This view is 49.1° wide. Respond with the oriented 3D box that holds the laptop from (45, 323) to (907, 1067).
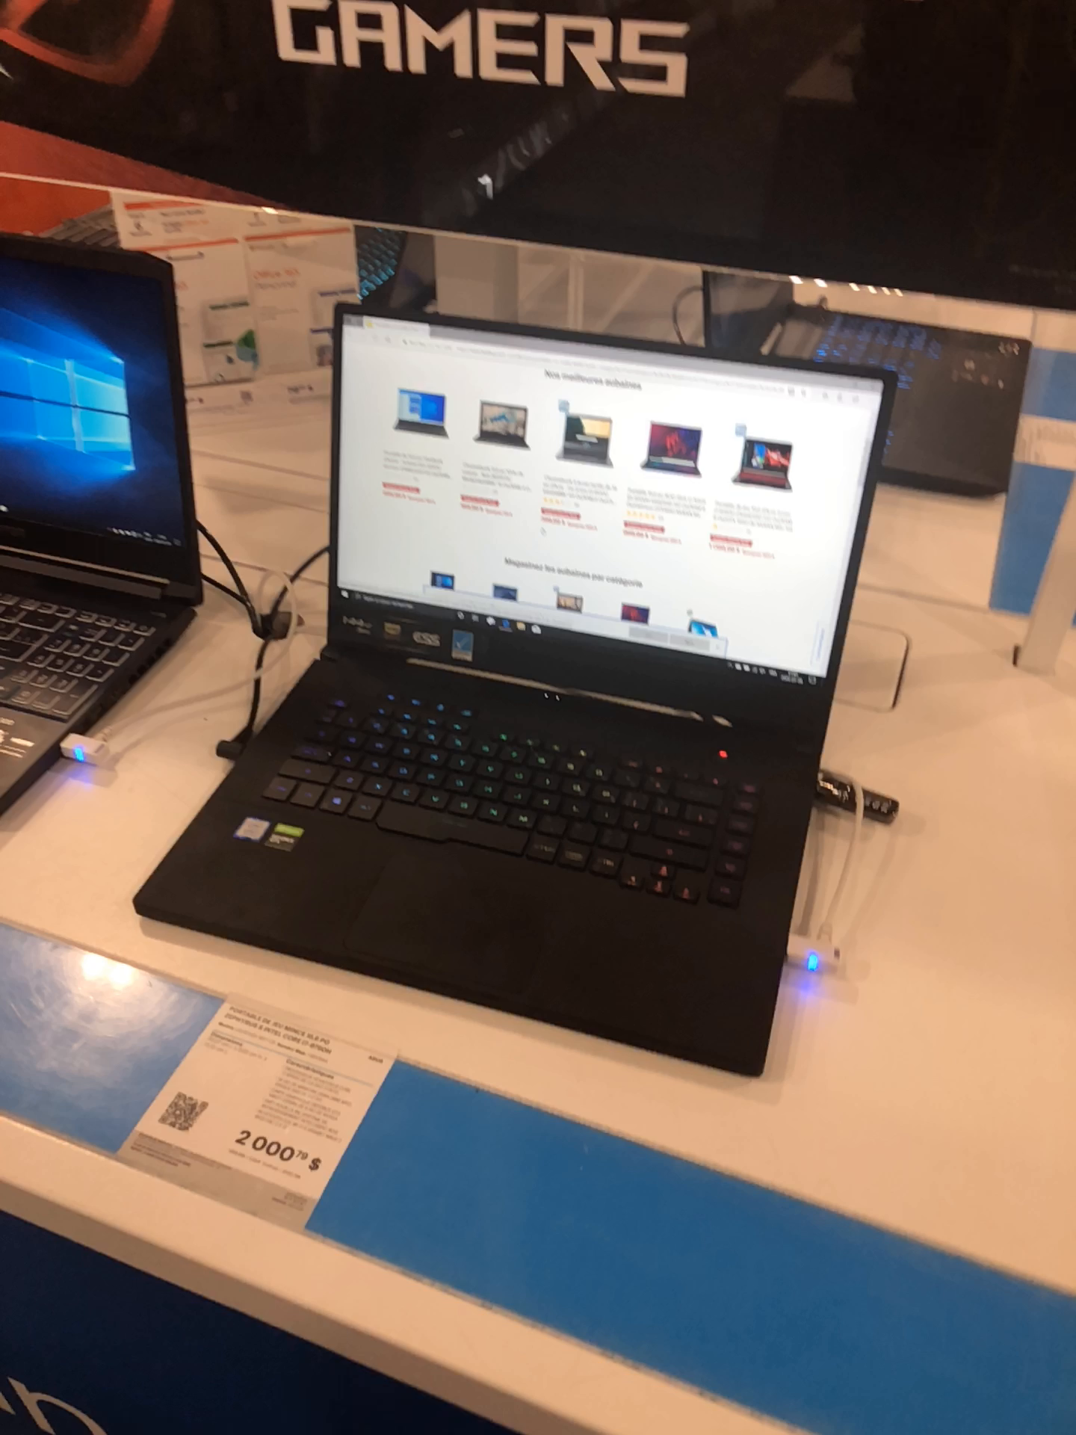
[{"bbox_3d":[-0.006,-0.043,0.652,0.340,0.207,0.316,12,41,15],"label":"laptop"}]
